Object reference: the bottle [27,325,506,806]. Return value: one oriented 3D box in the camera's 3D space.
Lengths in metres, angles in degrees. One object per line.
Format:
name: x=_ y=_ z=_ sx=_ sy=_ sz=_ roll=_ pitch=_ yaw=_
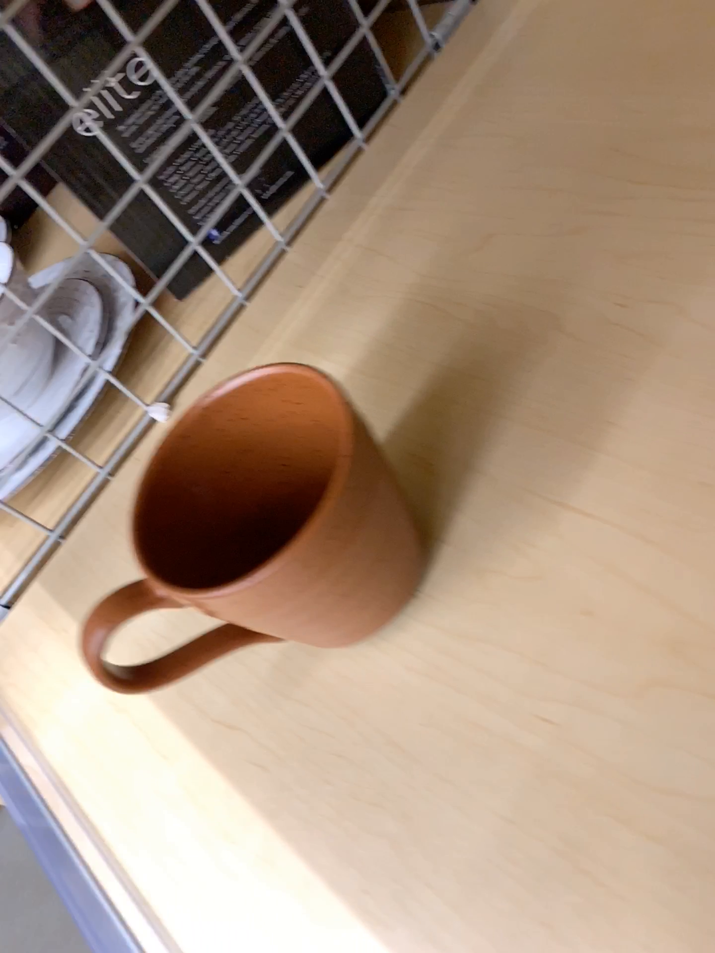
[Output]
bottle: x=-0.037 y=0.034 z=0.299 sx=0.140 sy=0.089 sz=0.101 roll=-46 pitch=46 yaw=-2
